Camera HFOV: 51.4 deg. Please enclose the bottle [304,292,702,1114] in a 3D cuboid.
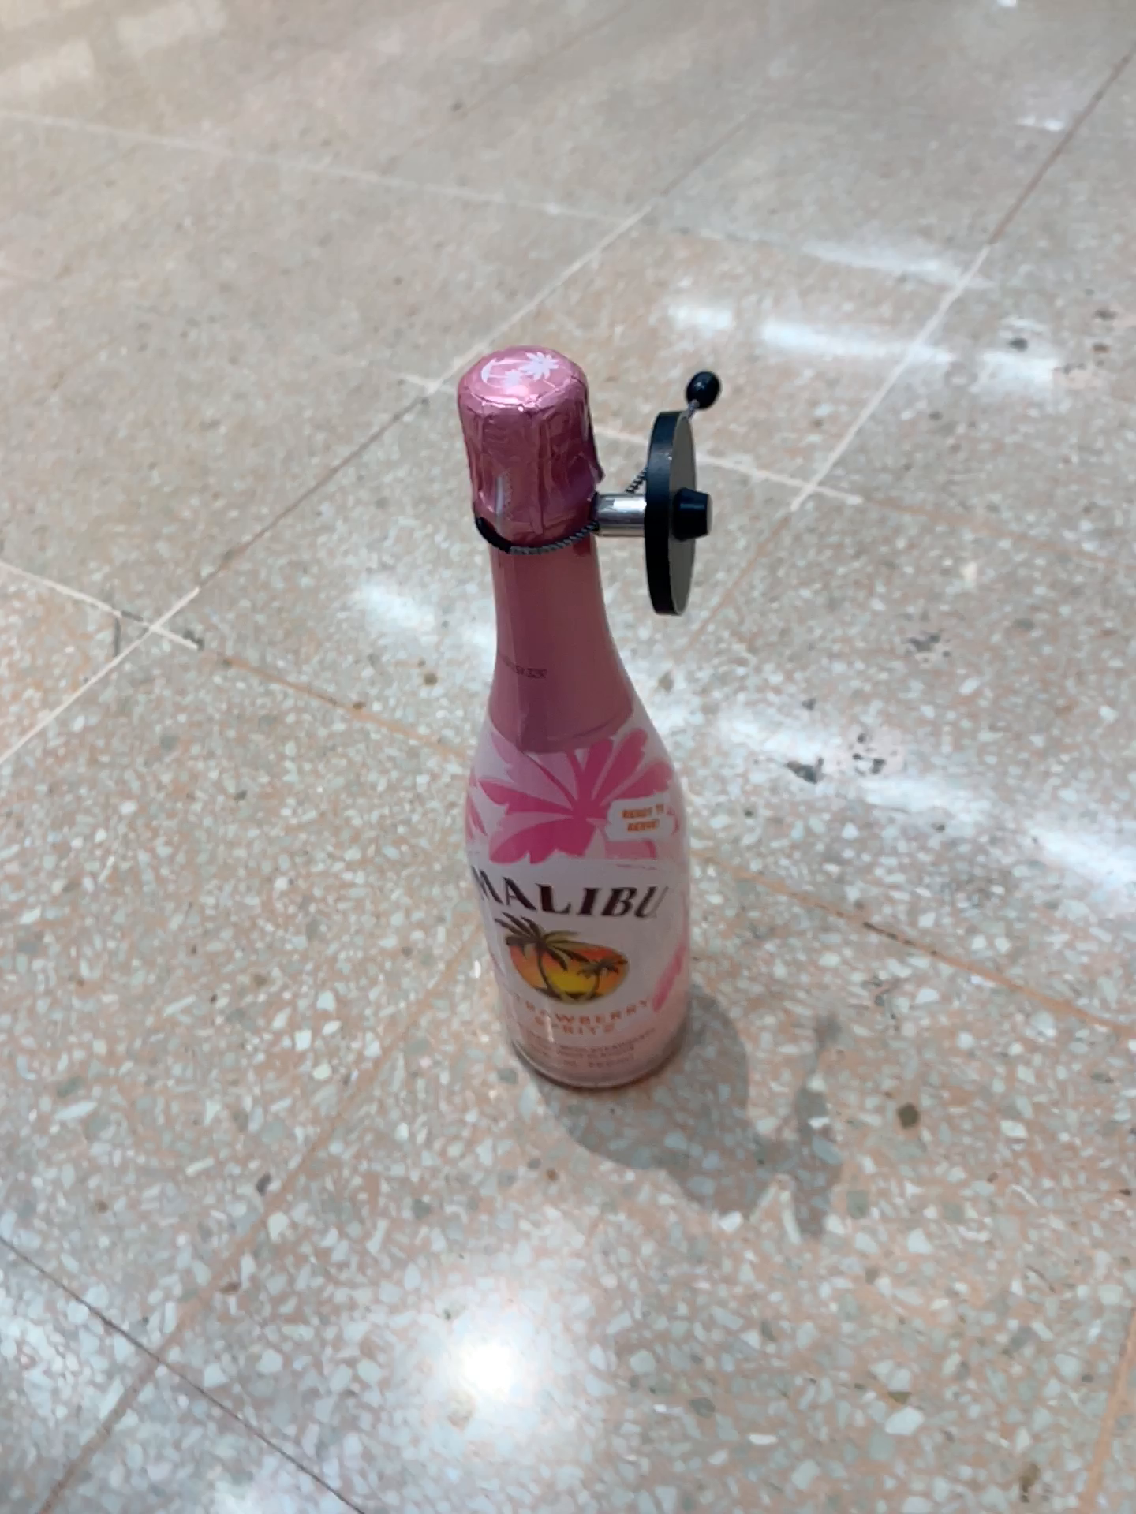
[{"bbox_3d":[0.000,0.009,0.405,0.080,0.307,0.081,-3,47,4],"label":"bottle"}]
